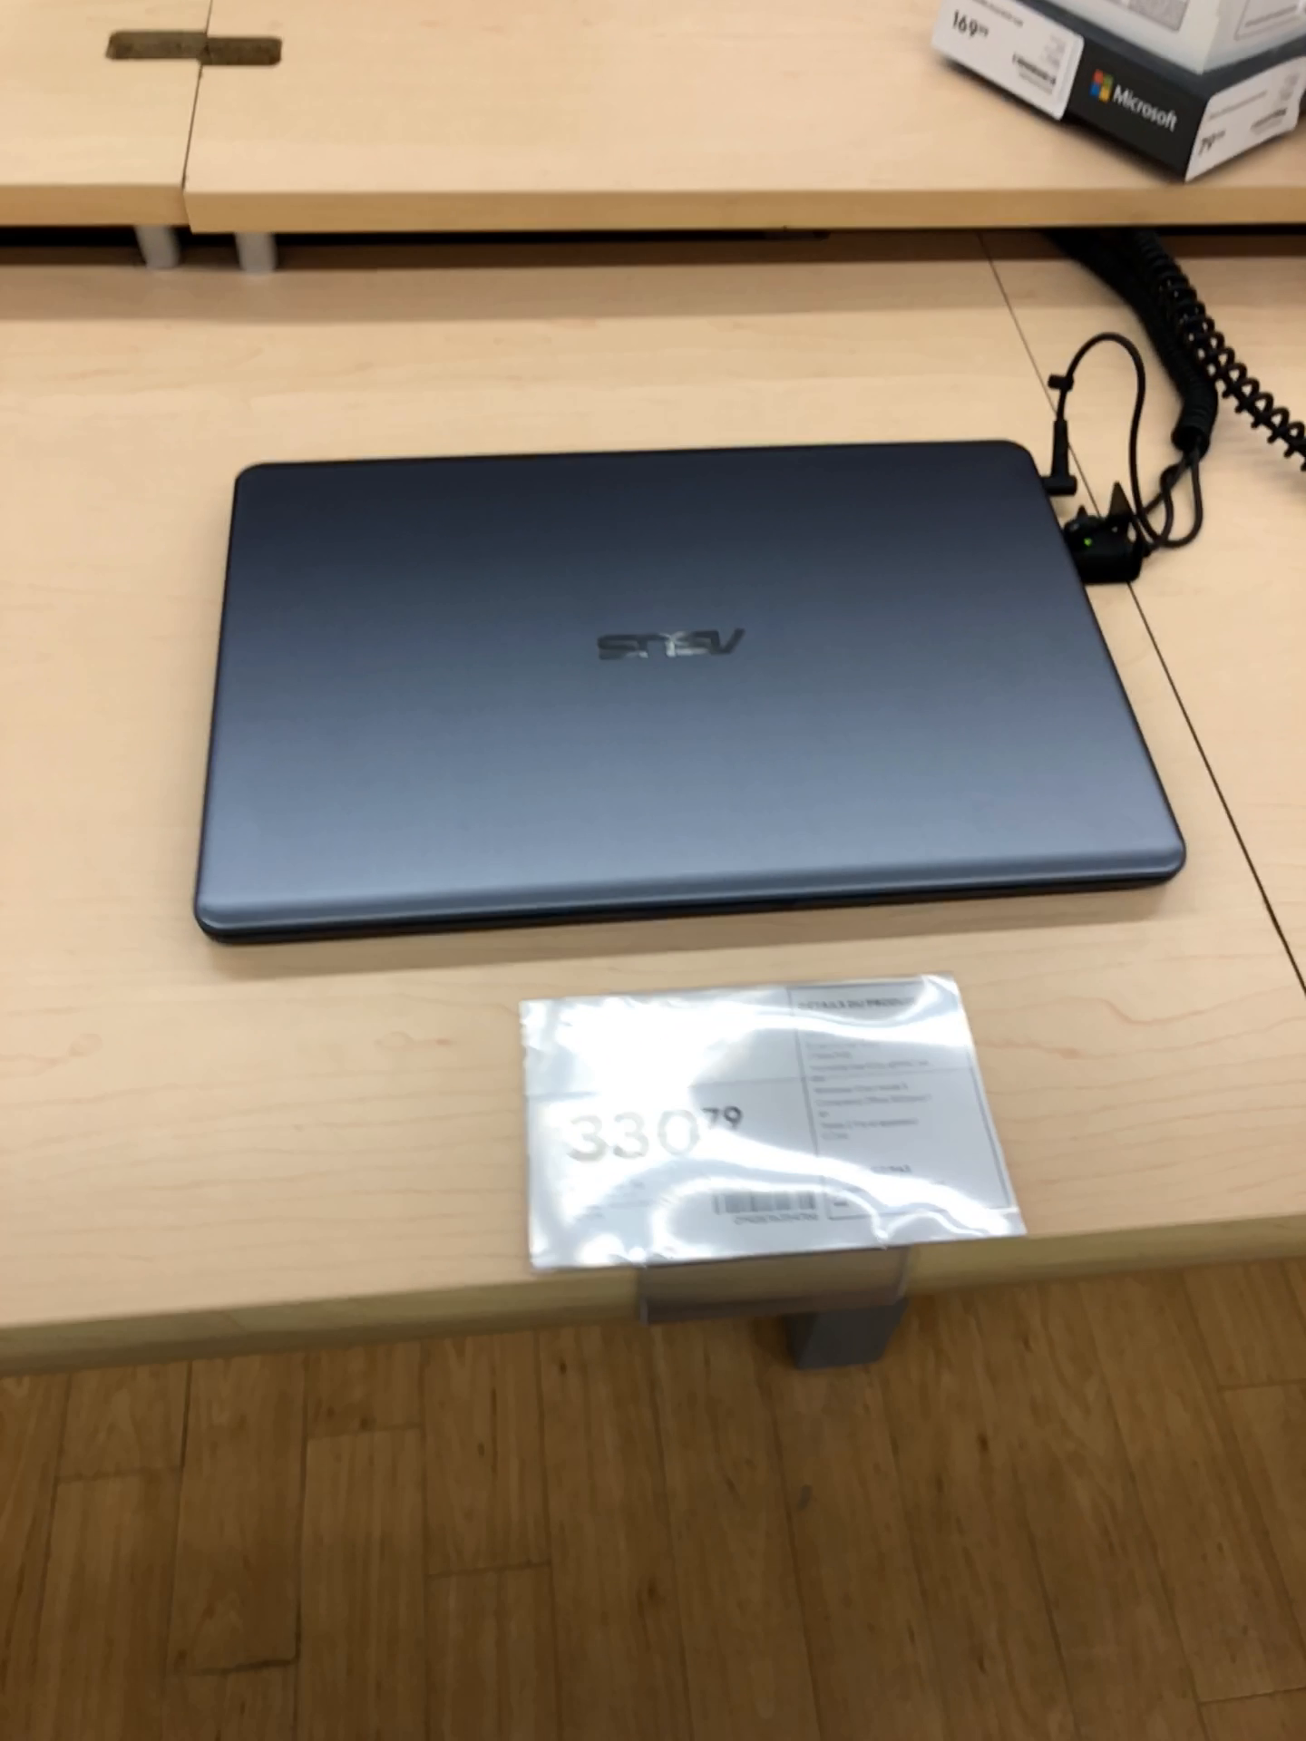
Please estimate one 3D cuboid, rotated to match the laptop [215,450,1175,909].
[{"bbox_3d":[0.007,-0.083,0.534,0.318,0.001,0.211,-4,55,-6],"label":"laptop"}]
